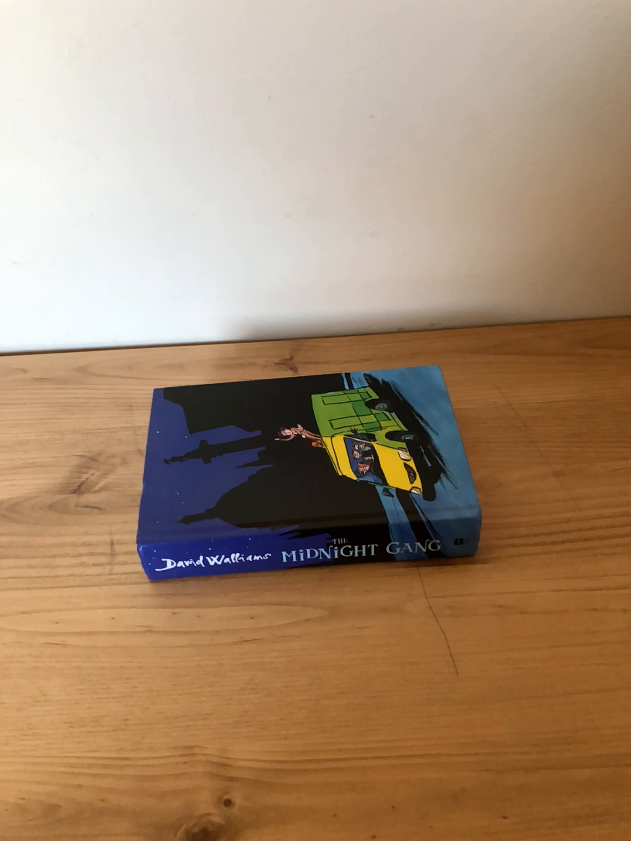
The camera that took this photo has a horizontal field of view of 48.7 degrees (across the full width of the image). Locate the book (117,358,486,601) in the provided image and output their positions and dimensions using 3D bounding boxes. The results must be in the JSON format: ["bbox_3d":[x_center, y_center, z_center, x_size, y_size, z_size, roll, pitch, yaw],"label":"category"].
[{"bbox_3d":[-0.013,0.039,0.520,0.237,0.060,0.154,-5,48,-1],"label":"book"}]
